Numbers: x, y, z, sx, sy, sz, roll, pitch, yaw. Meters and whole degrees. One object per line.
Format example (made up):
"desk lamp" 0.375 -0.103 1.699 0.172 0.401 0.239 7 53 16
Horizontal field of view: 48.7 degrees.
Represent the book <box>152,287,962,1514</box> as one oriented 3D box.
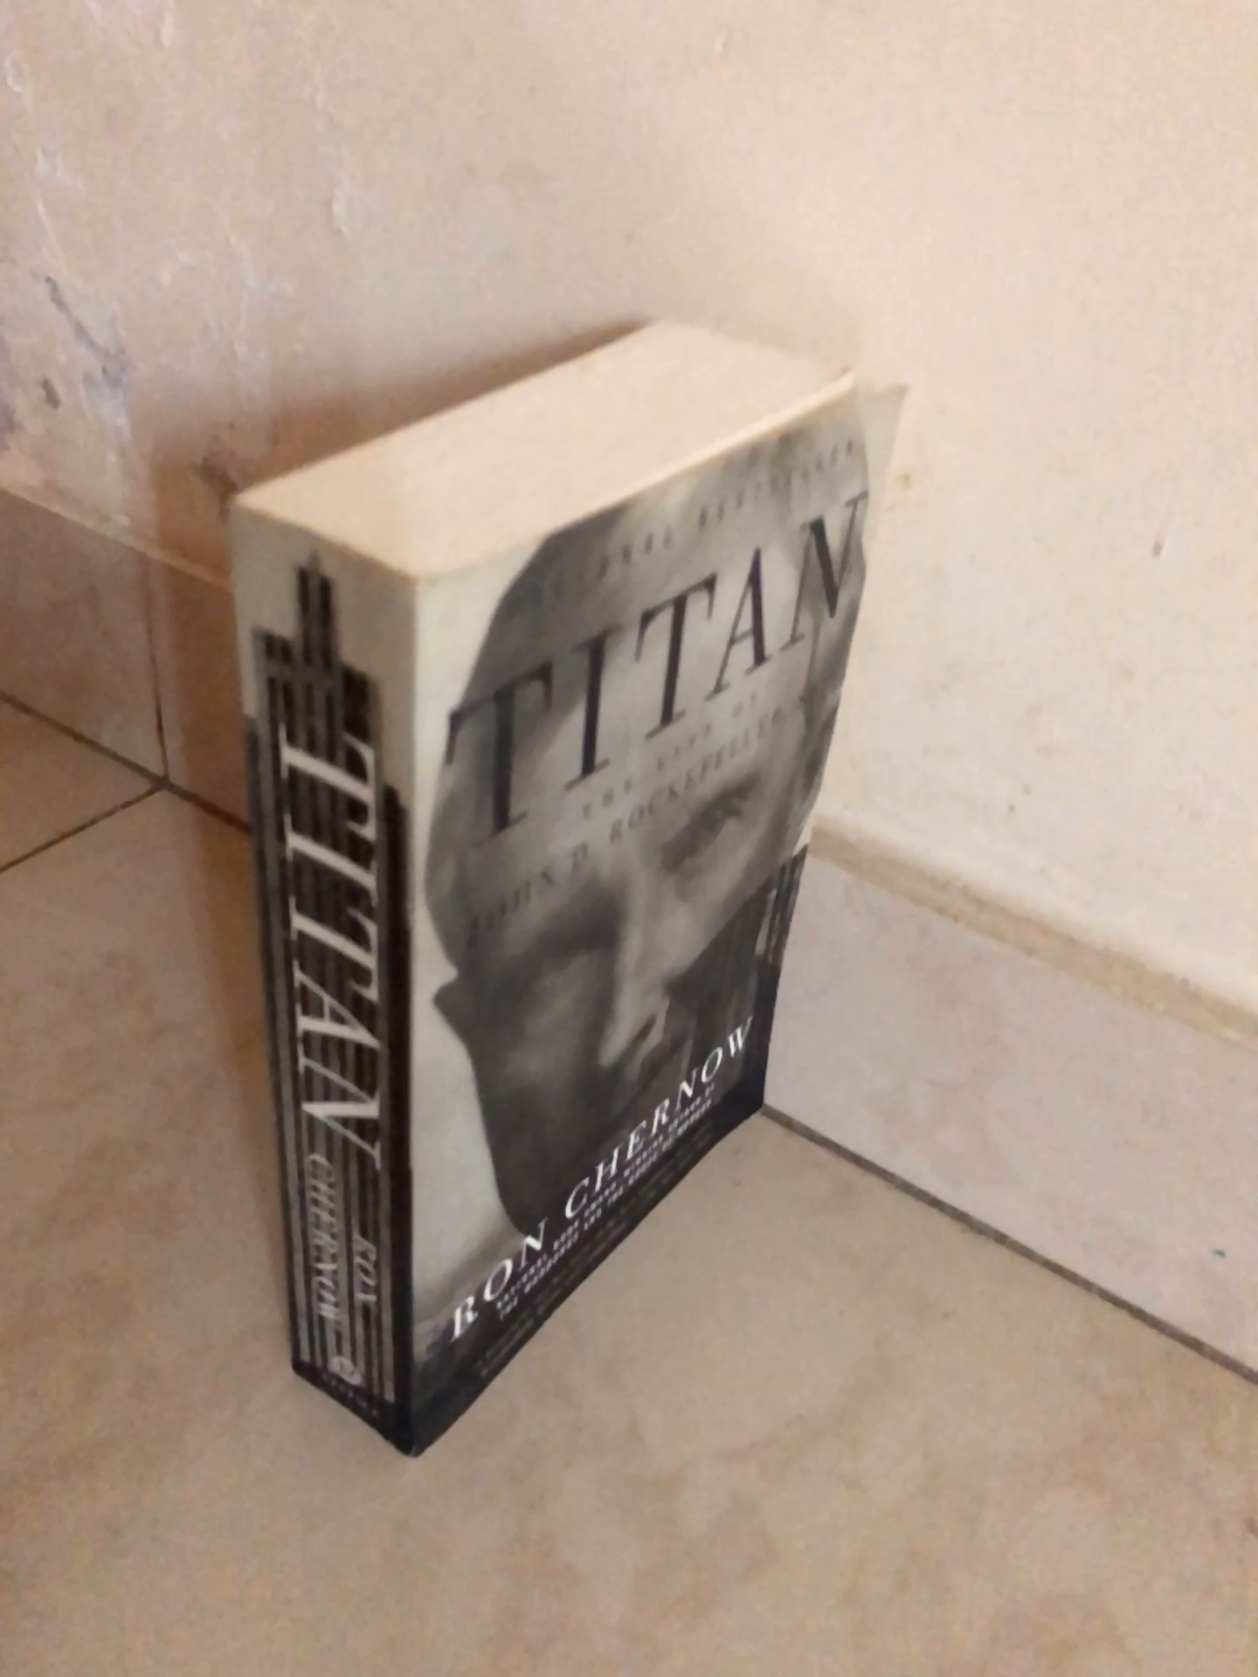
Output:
"book" -0.007 0.006 0.341 0.060 0.229 0.201 23 38 22
